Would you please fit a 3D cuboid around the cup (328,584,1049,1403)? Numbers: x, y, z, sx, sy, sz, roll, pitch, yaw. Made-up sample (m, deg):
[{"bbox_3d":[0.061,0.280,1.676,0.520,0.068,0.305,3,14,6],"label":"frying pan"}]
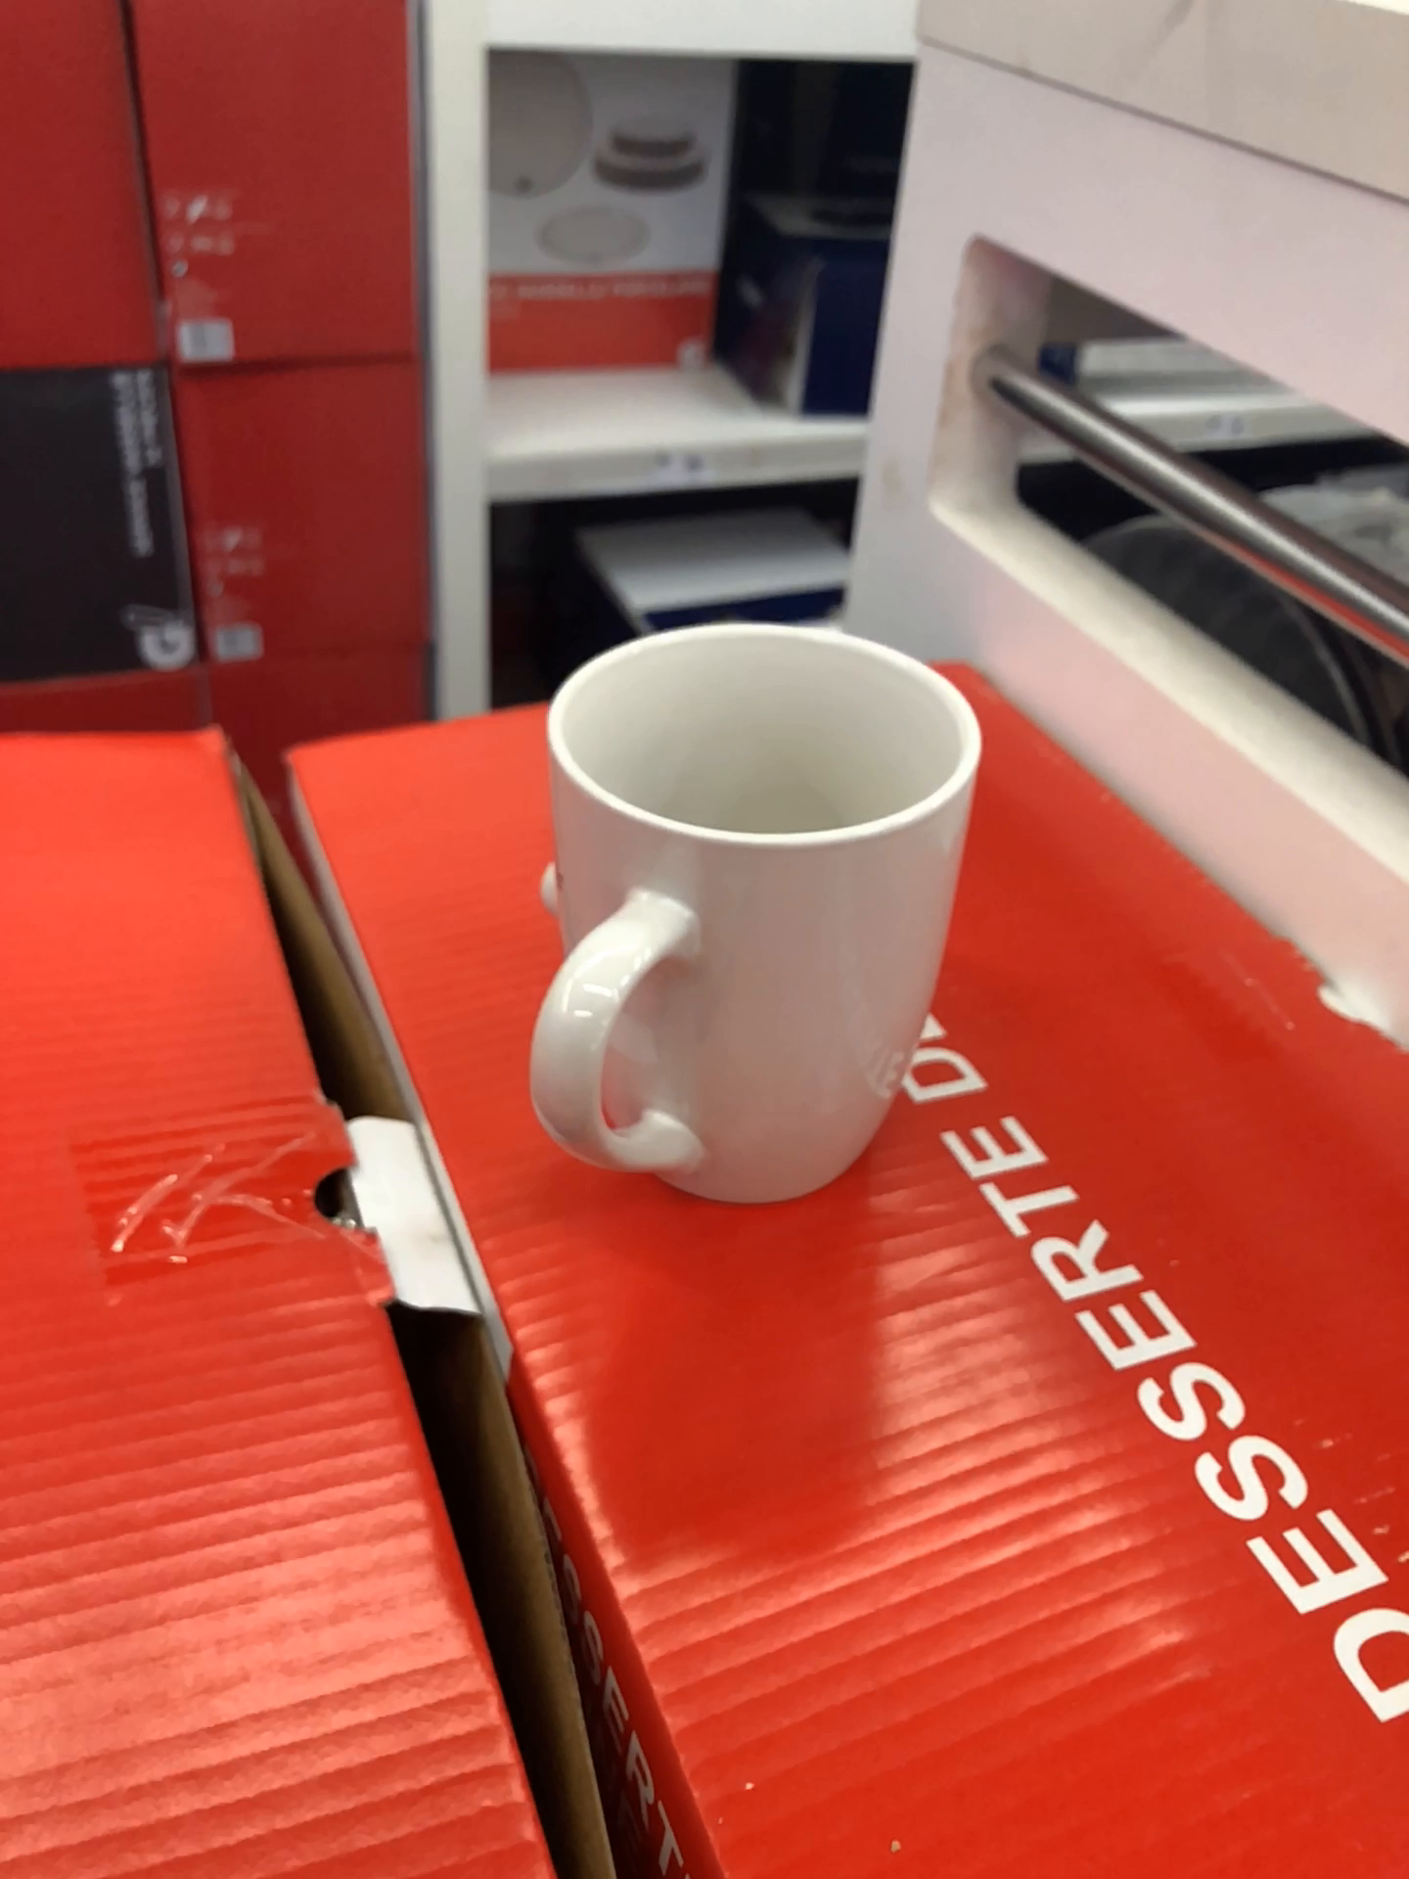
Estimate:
[{"bbox_3d":[0.001,0.002,0.323,0.092,0.092,0.124,19,38,17],"label":"cup"}]
